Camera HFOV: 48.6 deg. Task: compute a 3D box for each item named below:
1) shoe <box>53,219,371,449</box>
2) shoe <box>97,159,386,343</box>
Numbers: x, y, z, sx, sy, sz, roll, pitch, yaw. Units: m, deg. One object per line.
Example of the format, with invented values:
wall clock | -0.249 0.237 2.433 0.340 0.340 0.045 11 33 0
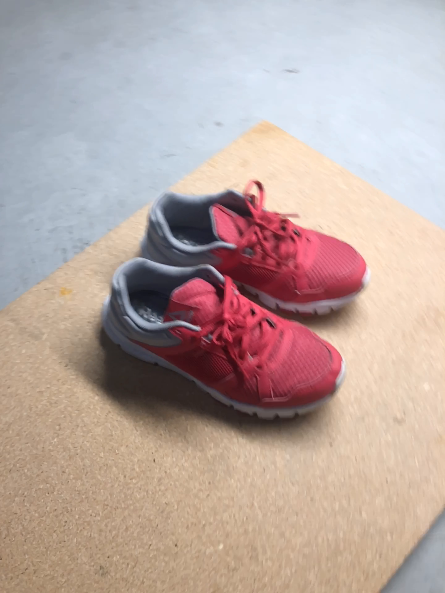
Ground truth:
shoe | -0.011 0.033 0.485 0.270 0.100 0.100 21 62 16
shoe | 0.022 -0.052 0.537 0.270 0.100 0.110 13 60 11
